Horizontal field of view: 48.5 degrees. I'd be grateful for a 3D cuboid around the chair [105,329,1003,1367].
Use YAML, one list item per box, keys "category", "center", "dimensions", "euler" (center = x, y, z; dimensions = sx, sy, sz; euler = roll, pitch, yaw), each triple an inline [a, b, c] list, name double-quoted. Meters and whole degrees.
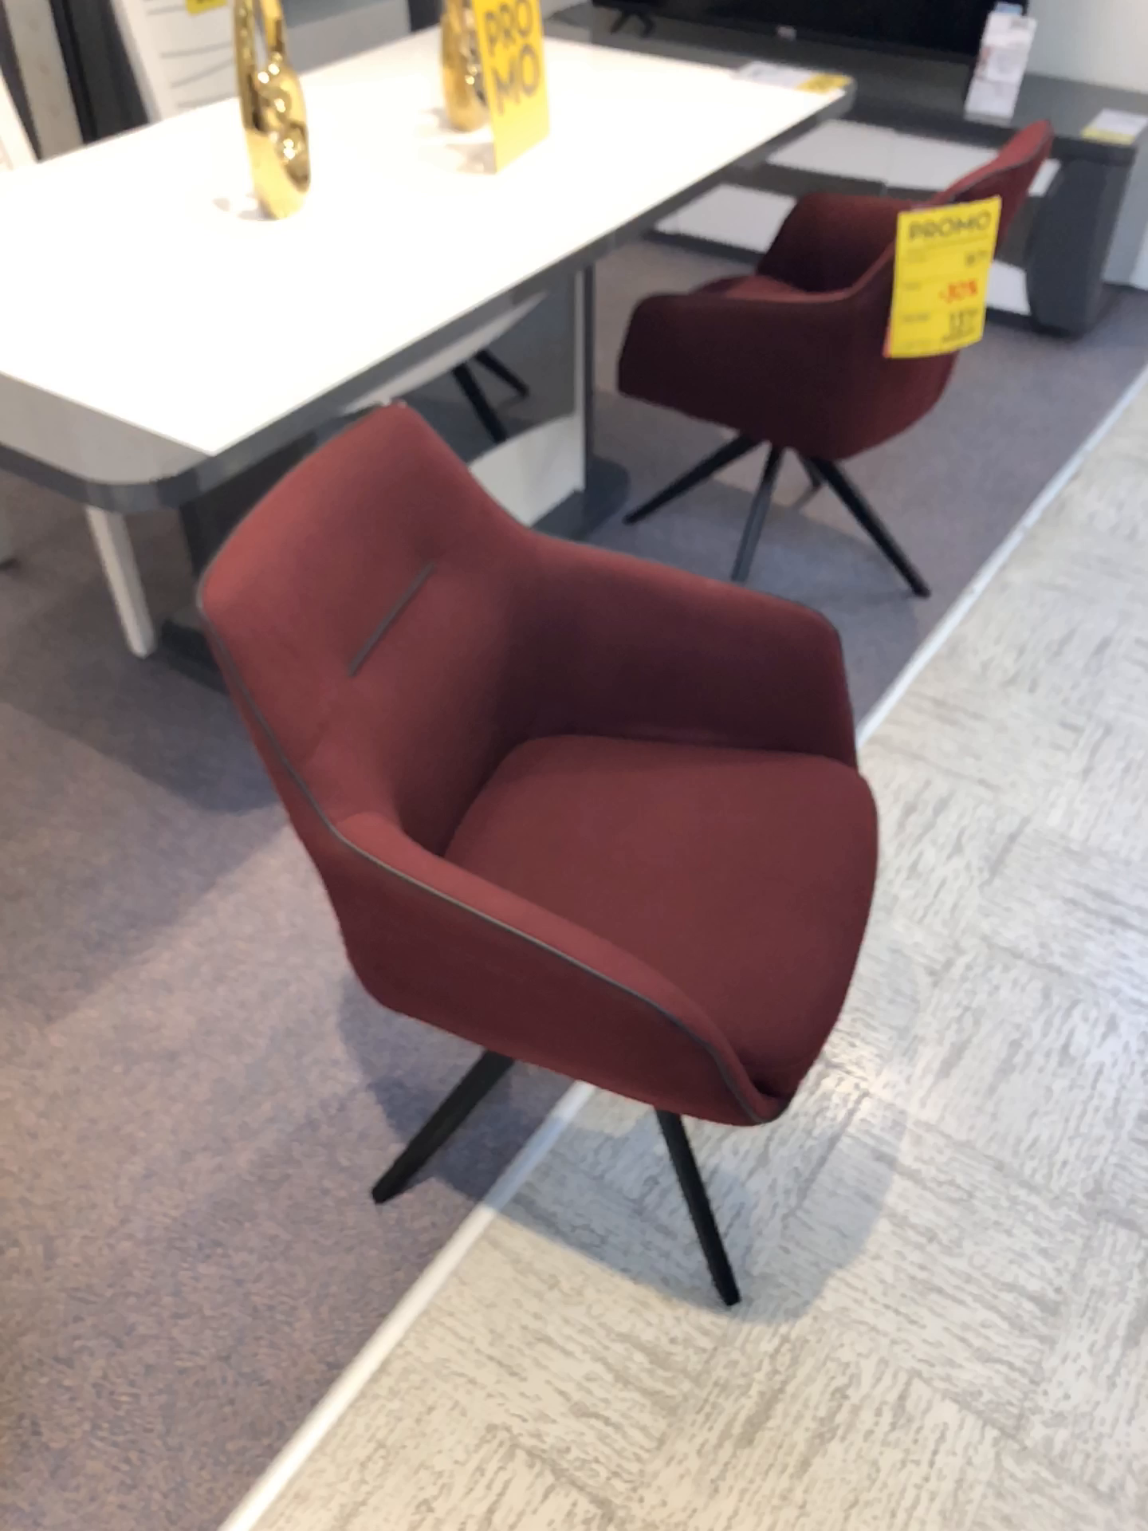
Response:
- category: "chair"
  center: [0.032, 0.073, 1.280]
  dimensions: [0.570, 0.736, 0.584]
  euler: [13, 44, 13]
